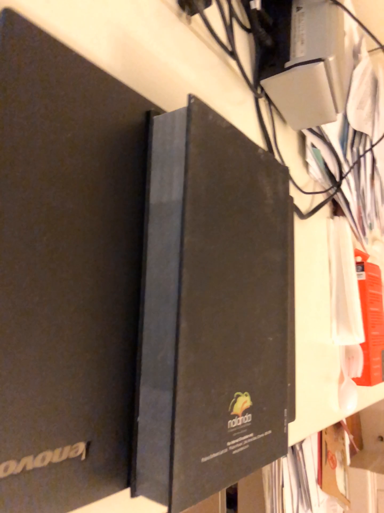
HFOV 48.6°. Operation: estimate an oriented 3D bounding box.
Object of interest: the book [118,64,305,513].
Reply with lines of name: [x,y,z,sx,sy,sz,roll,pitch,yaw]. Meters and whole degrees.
book: [0.023,0.021,0.284,0.151,0.040,0.230,14,73,-53]
